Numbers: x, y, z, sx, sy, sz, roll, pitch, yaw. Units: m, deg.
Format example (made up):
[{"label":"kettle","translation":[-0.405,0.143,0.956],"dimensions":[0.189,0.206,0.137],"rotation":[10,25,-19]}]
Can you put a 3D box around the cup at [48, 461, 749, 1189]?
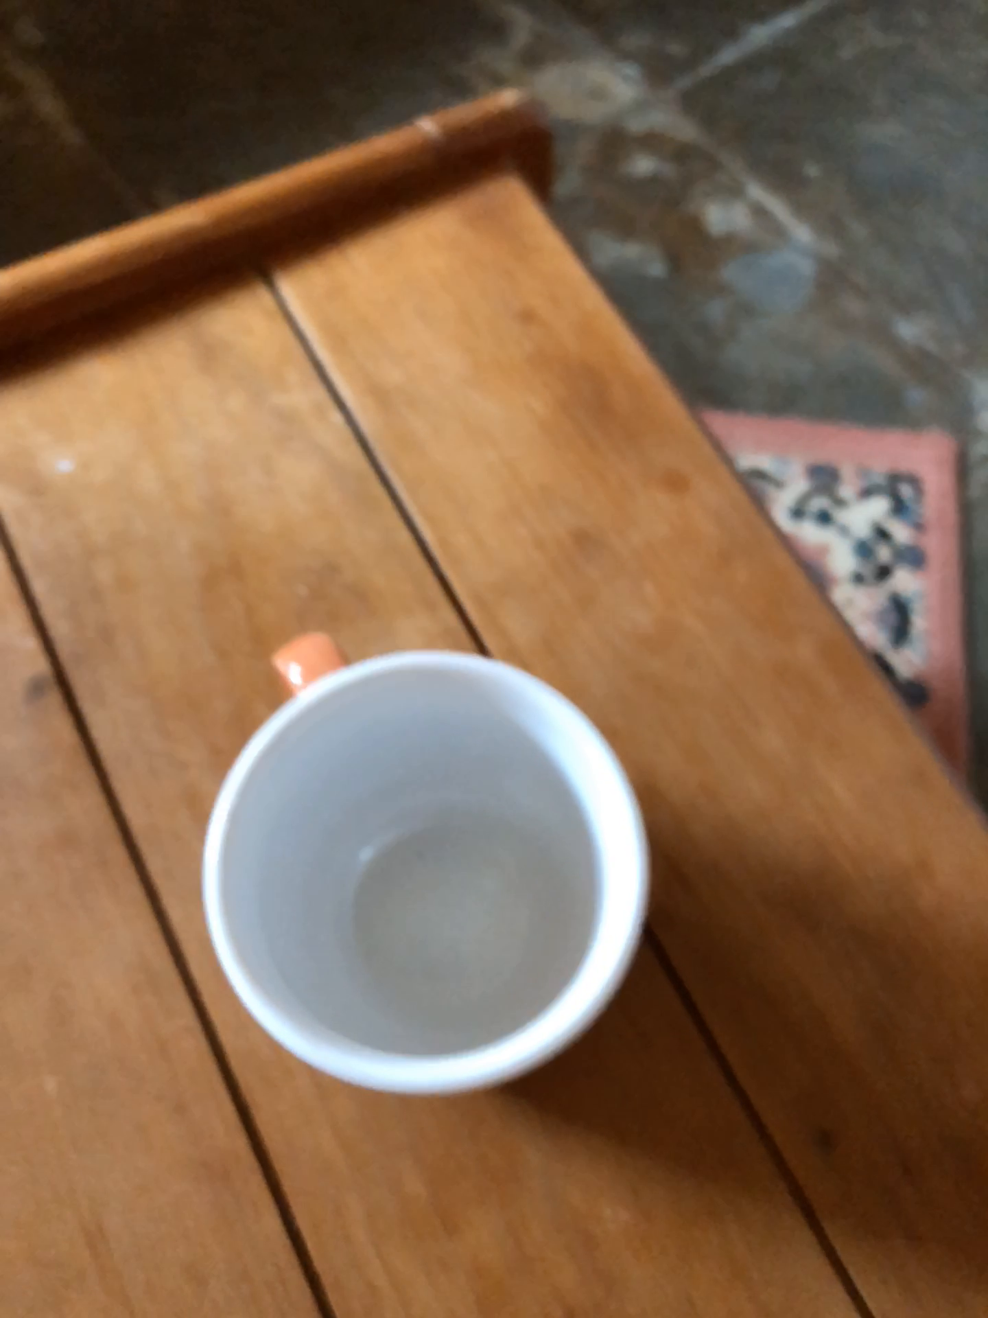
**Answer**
[{"label":"cup","translation":[-0.021,0.034,0.239],"dimensions":[0.090,0.060,0.110],"rotation":[-28,70,-13]}]
